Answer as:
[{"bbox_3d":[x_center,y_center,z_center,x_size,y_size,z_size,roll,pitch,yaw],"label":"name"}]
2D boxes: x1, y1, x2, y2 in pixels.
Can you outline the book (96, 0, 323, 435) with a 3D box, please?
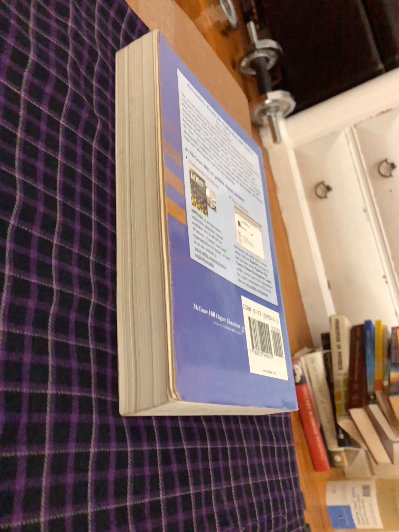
[{"bbox_3d":[0.012,-0.021,0.298,0.181,0.040,0.240,25,53,-53],"label":"book"}]
